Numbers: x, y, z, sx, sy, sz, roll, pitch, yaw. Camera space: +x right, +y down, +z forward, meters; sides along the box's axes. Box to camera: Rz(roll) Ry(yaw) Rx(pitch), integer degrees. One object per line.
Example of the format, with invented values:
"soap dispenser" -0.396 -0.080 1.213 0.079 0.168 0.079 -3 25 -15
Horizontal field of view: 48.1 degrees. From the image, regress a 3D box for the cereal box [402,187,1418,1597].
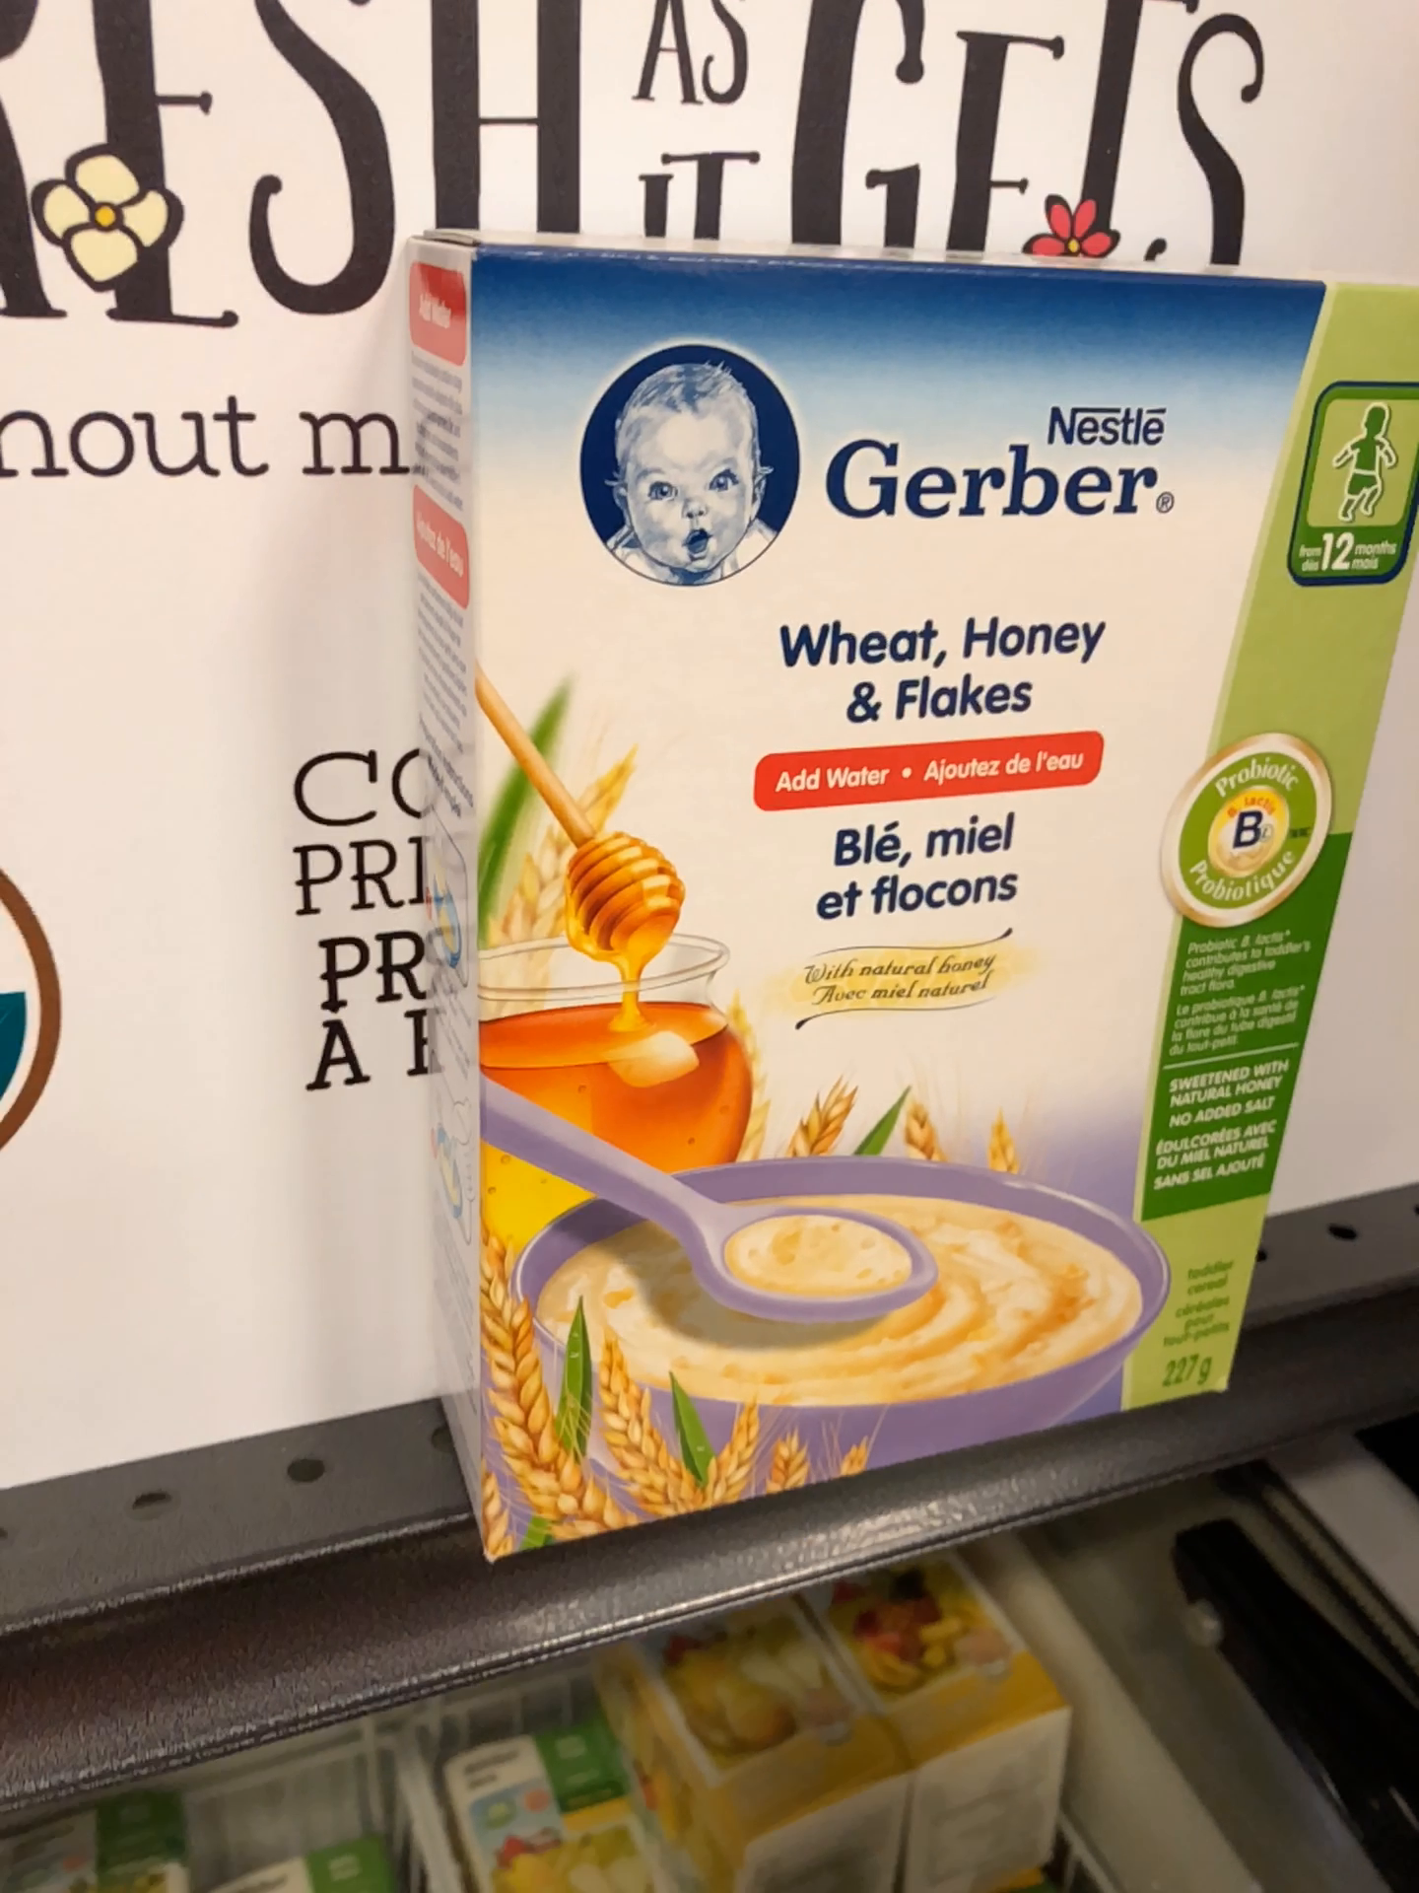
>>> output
"cereal box" 0.033 -0.006 0.254 0.150 0.199 0.050 -6 27 -19
